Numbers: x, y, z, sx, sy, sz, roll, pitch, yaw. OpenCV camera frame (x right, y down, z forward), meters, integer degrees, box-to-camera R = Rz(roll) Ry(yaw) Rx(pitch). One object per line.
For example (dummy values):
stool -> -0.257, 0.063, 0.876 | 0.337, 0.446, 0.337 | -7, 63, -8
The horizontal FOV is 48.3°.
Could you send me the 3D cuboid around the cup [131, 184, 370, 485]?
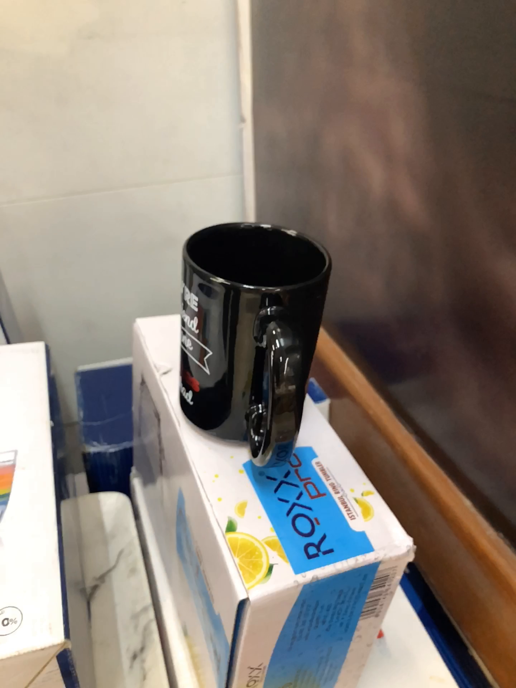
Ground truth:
cup -> -0.018, -0.014, 0.320 | 0.090, 0.109, 0.131 | -3, 31, -18
